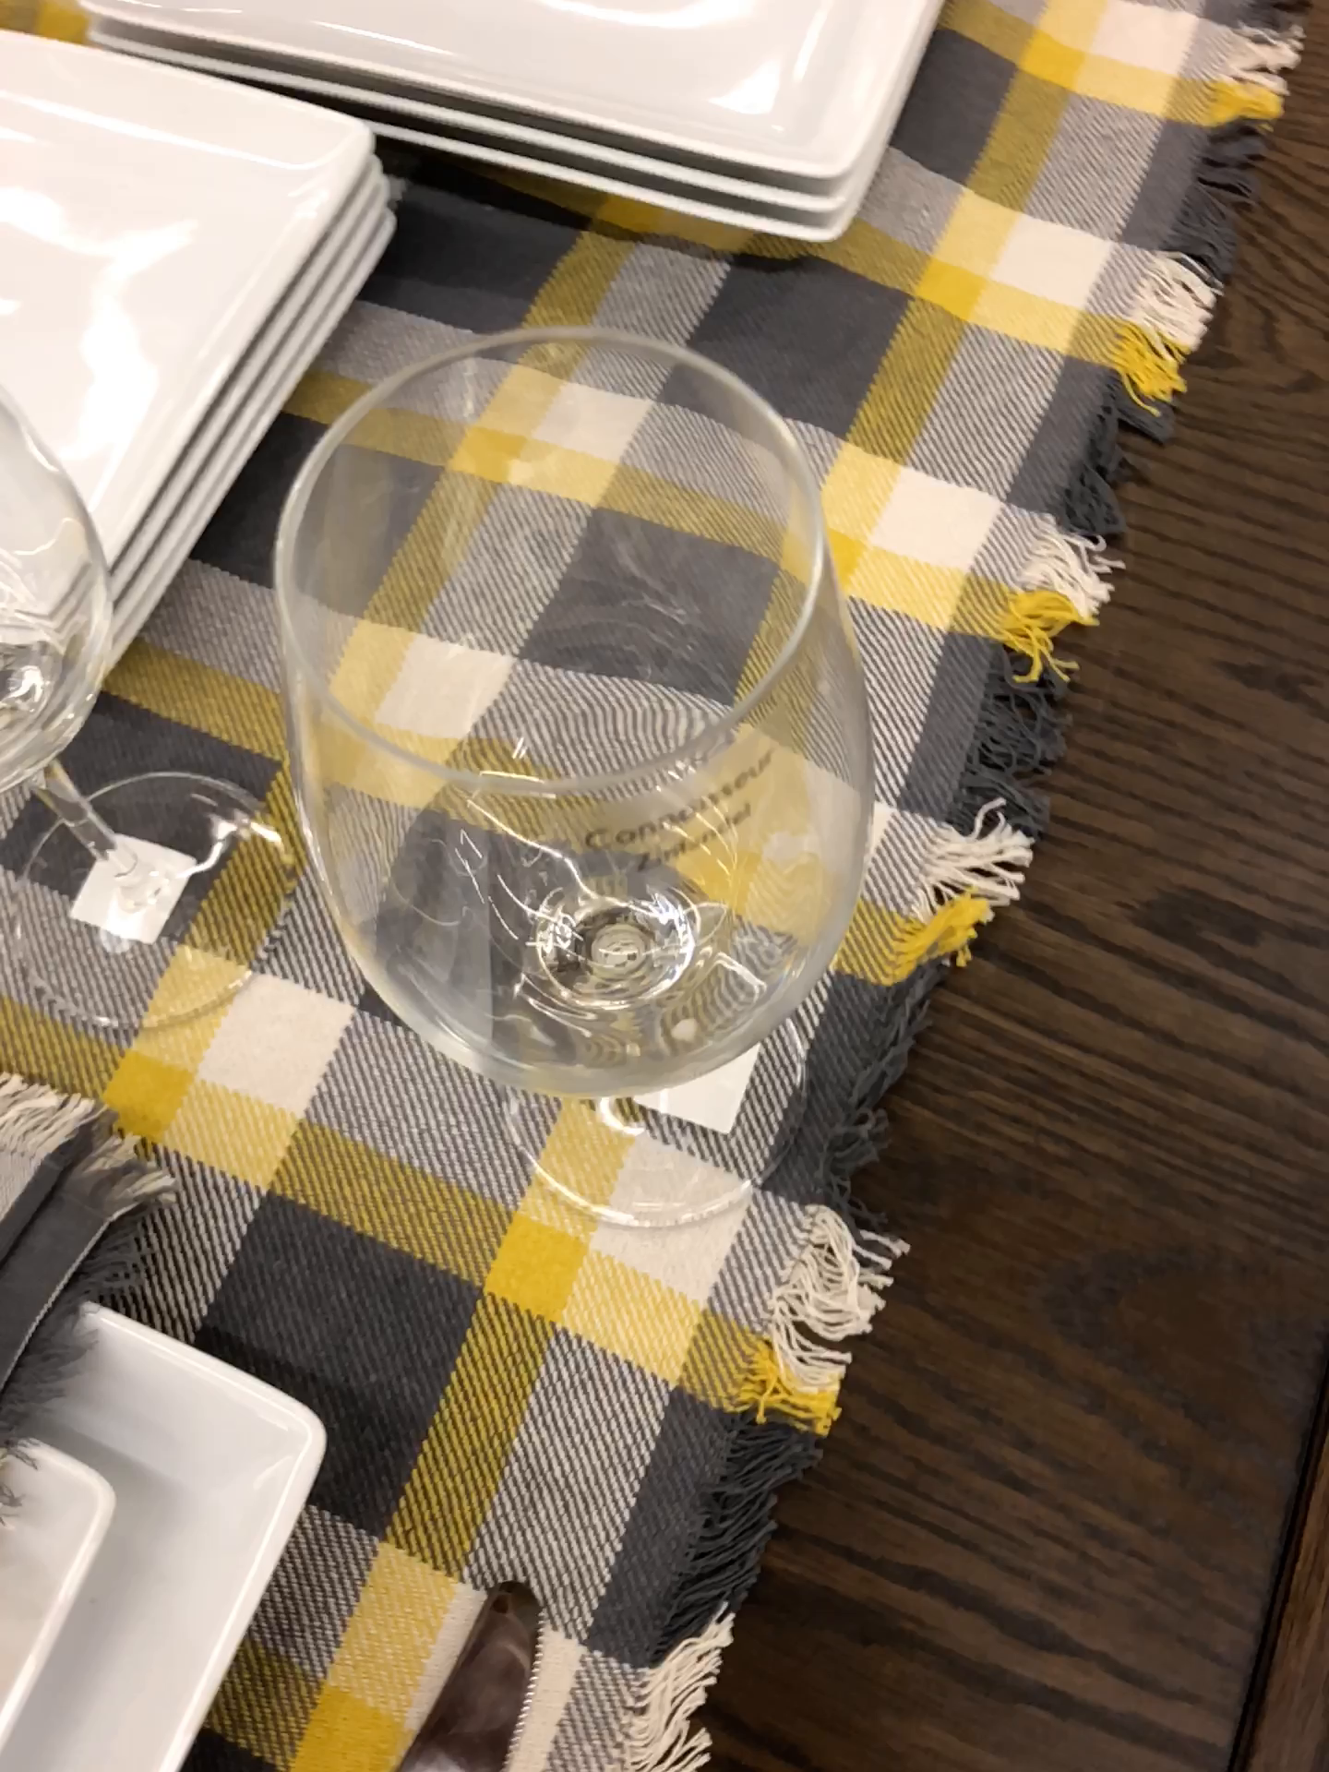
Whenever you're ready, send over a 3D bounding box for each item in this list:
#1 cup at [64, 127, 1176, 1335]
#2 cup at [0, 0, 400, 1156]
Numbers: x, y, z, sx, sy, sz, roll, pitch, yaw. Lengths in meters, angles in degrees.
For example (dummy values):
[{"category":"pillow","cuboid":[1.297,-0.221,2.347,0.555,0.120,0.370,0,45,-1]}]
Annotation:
[{"category":"cup","cuboid":[-0.006,-0.001,0.255,0.092,0.192,0.096,-1,66,2]},{"category":"cup","cuboid":[-0.131,-0.035,0.280,0.092,0.193,0.096,-1,66,2]}]
